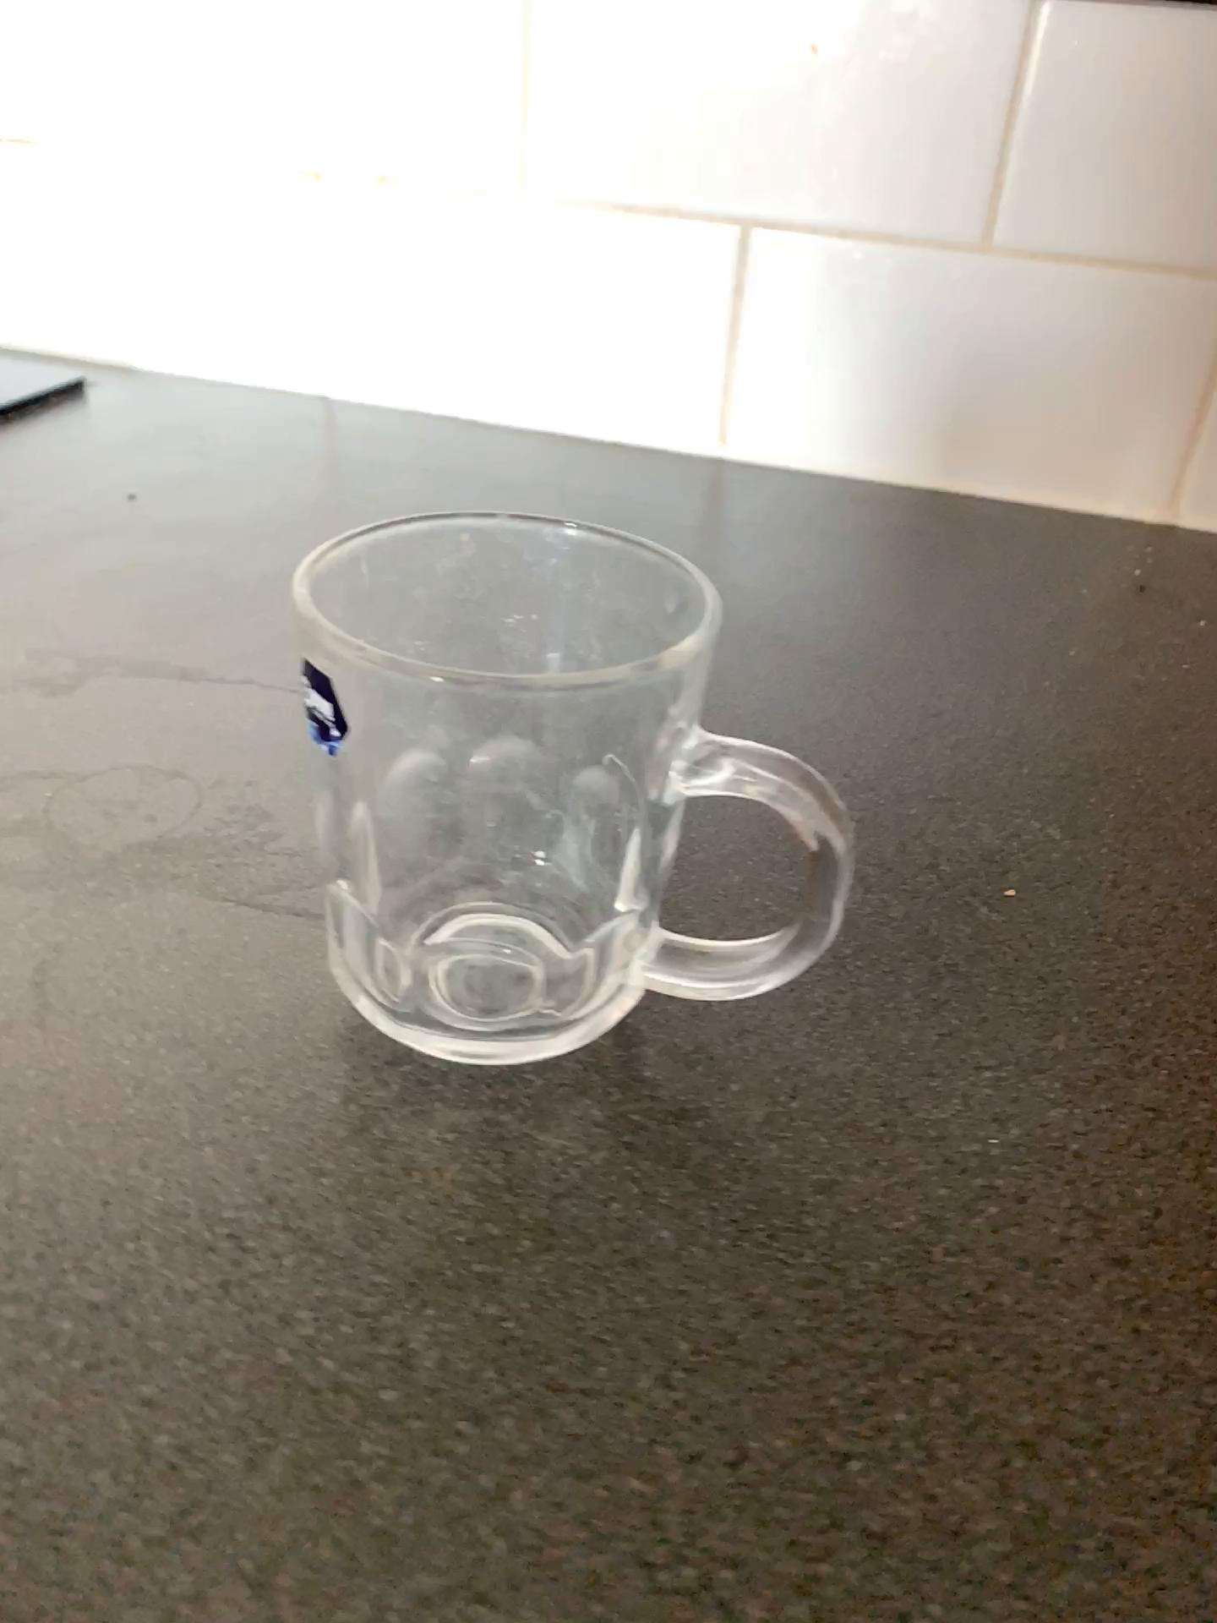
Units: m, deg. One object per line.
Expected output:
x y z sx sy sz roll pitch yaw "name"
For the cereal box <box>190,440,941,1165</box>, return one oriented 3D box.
-0.003 -0.007 0.237 0.110 0.089 0.081 11 32 10 "cereal box"
